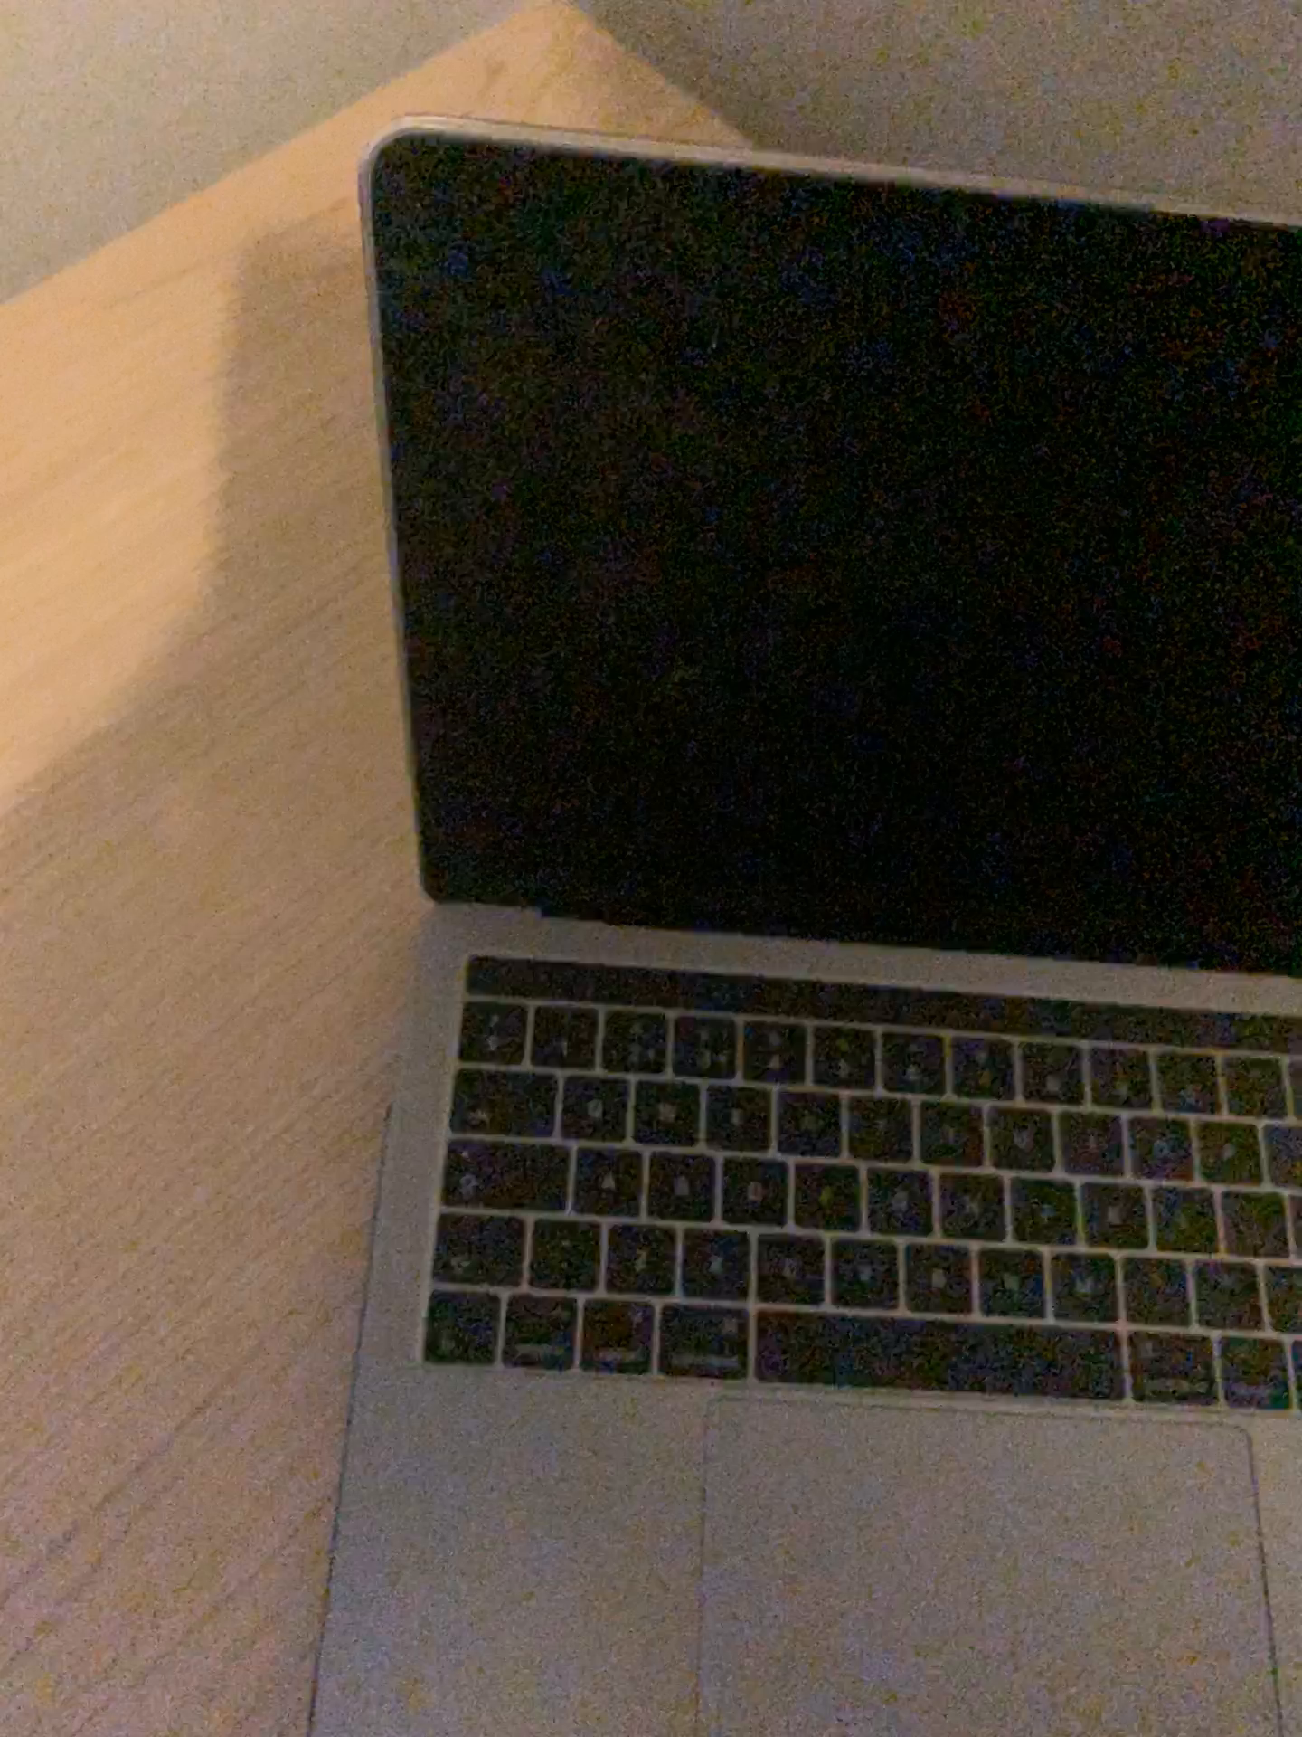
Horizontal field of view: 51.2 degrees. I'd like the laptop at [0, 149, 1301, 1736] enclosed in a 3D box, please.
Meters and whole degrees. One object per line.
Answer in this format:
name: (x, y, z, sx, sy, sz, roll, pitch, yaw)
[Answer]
laptop: (0.090, 0.054, 0.259, 0.294, 0.198, 0.257, 4, 66, -2)
